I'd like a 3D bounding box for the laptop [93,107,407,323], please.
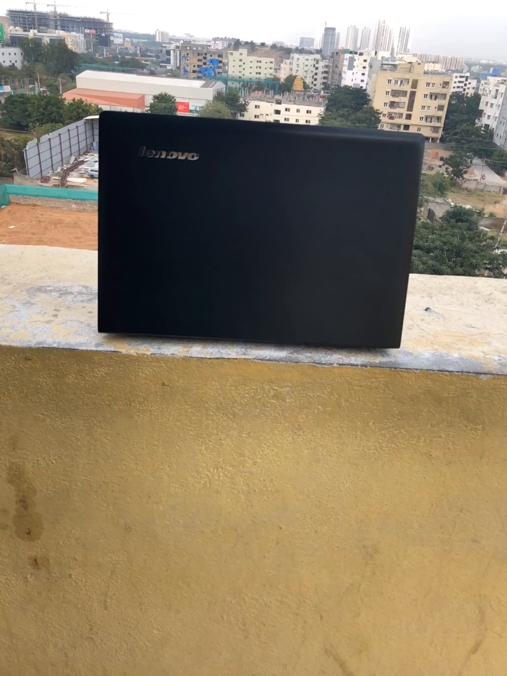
[{"bbox_3d":[-0.011,-0.177,0.749,0.333,0.223,0.246,2,26,-1],"label":"laptop"}]
